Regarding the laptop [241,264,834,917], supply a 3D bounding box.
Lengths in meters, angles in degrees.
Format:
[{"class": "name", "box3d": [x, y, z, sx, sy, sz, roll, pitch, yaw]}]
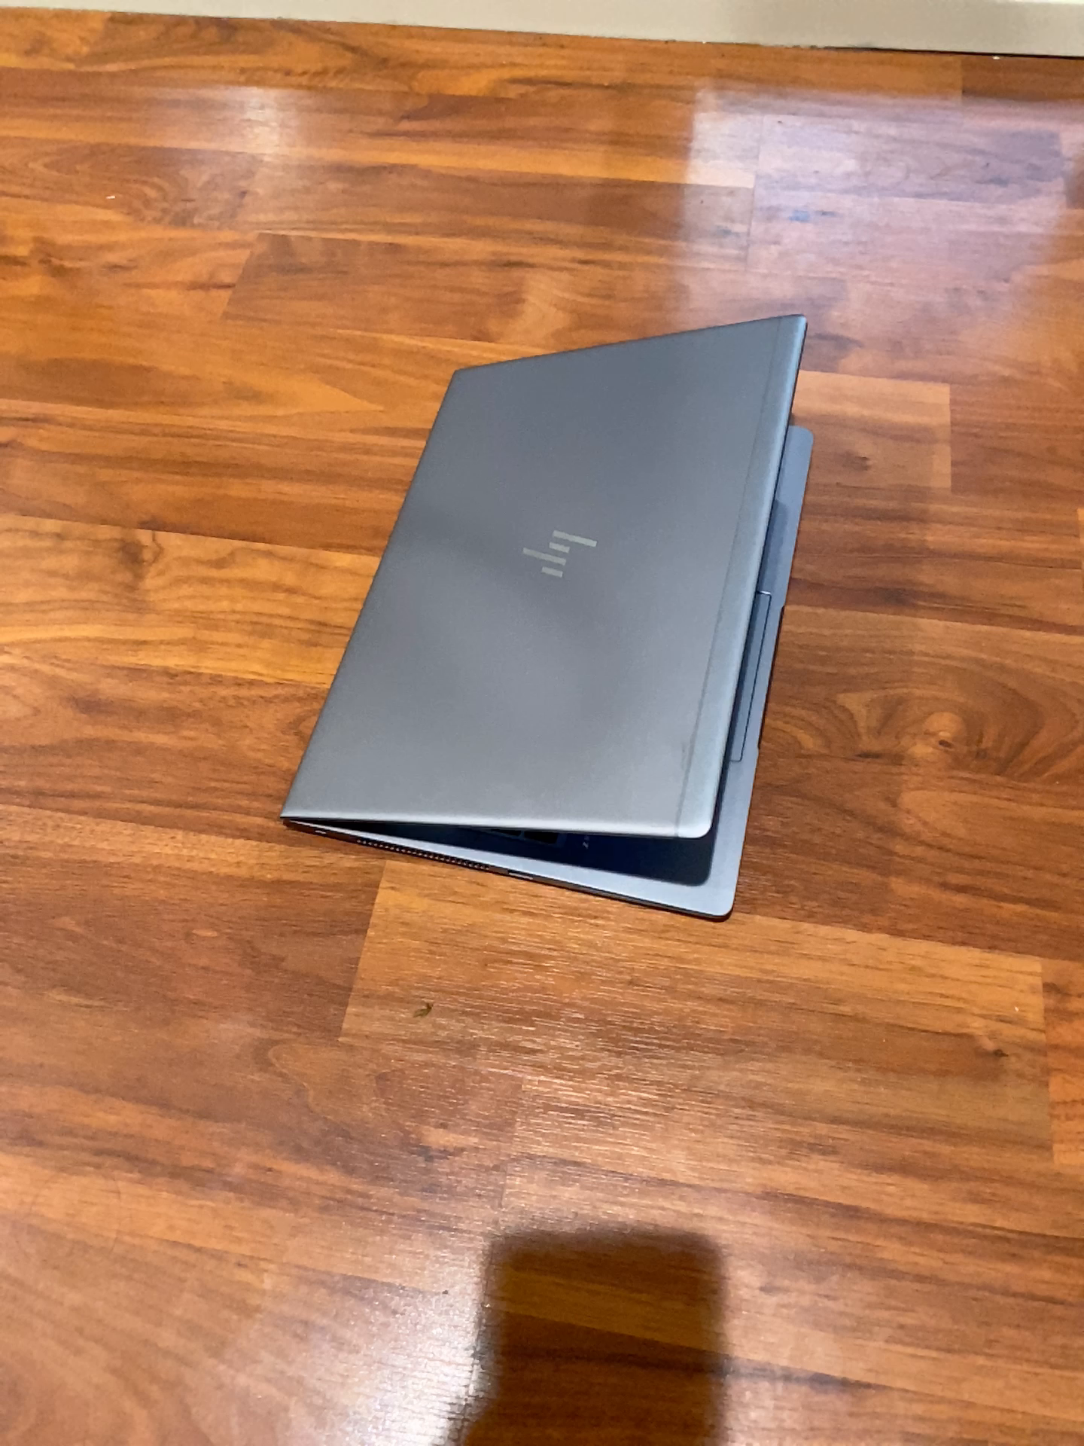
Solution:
[{"class": "laptop", "box3d": [0.015, -0.088, 0.592, 0.230, 0.078, 0.325, 12, 62, 8]}]
